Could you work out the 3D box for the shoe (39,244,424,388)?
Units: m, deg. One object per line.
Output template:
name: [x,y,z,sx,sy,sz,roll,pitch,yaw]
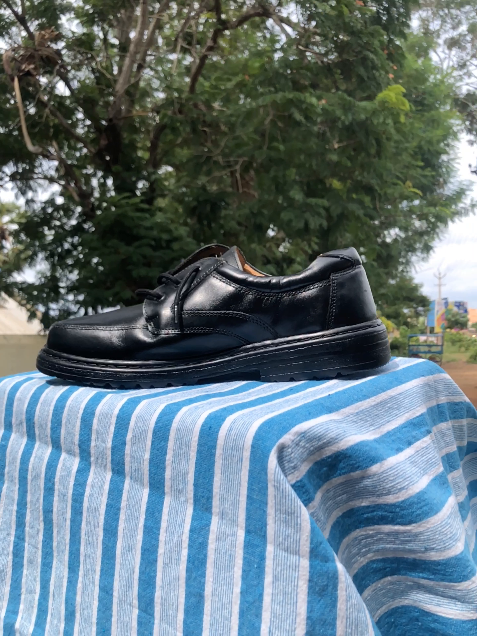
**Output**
shoe: [-0.004,-0.004,0.446,0.290,0.100,0.110,0,2,11]
